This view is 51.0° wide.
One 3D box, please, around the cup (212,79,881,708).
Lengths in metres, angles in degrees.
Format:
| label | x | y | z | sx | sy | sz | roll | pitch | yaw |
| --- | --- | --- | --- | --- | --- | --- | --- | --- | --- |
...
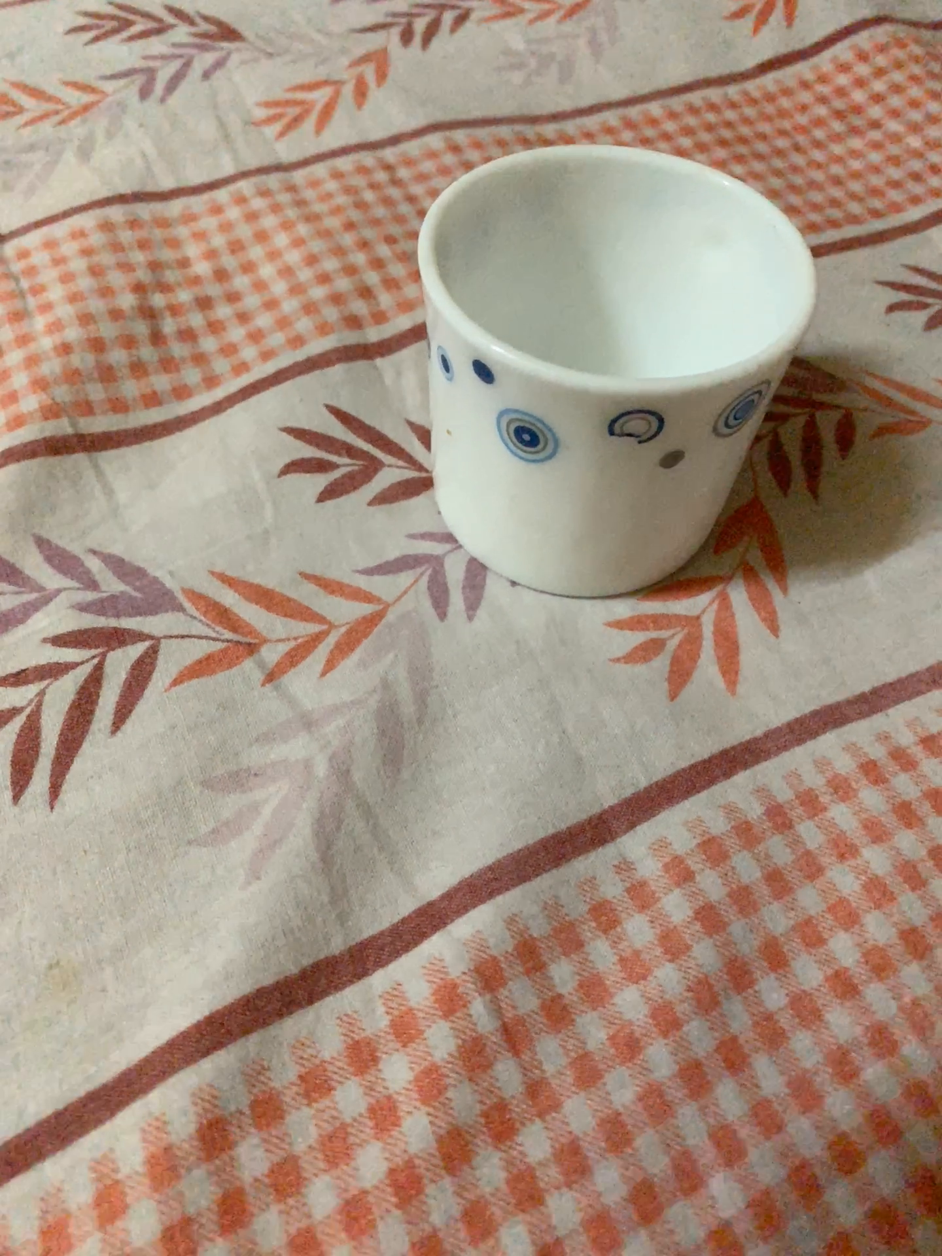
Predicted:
| label | x | y | z | sx | sy | sz | roll | pitch | yaw |
| --- | --- | --- | --- | --- | --- | --- | --- | --- | --- |
| cup | 0.013 | -0.051 | 0.208 | 0.100 | 0.070 | 0.070 | -31 | 62 | -22 |
